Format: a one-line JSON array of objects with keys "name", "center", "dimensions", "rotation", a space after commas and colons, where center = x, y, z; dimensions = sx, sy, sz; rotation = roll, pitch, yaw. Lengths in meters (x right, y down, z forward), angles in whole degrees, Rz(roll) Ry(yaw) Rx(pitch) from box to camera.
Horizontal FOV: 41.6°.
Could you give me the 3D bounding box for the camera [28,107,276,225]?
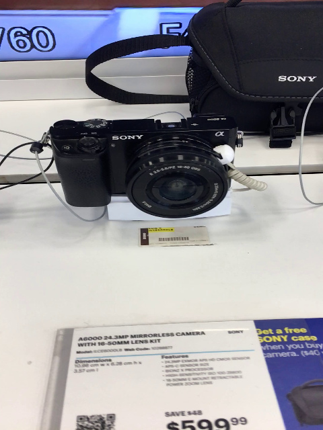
[{"name": "camera", "center": [-0.007, -0.036, 0.302], "dimensions": [0.150, 0.056, 0.066], "rotation": [-3, 42, -2]}]
